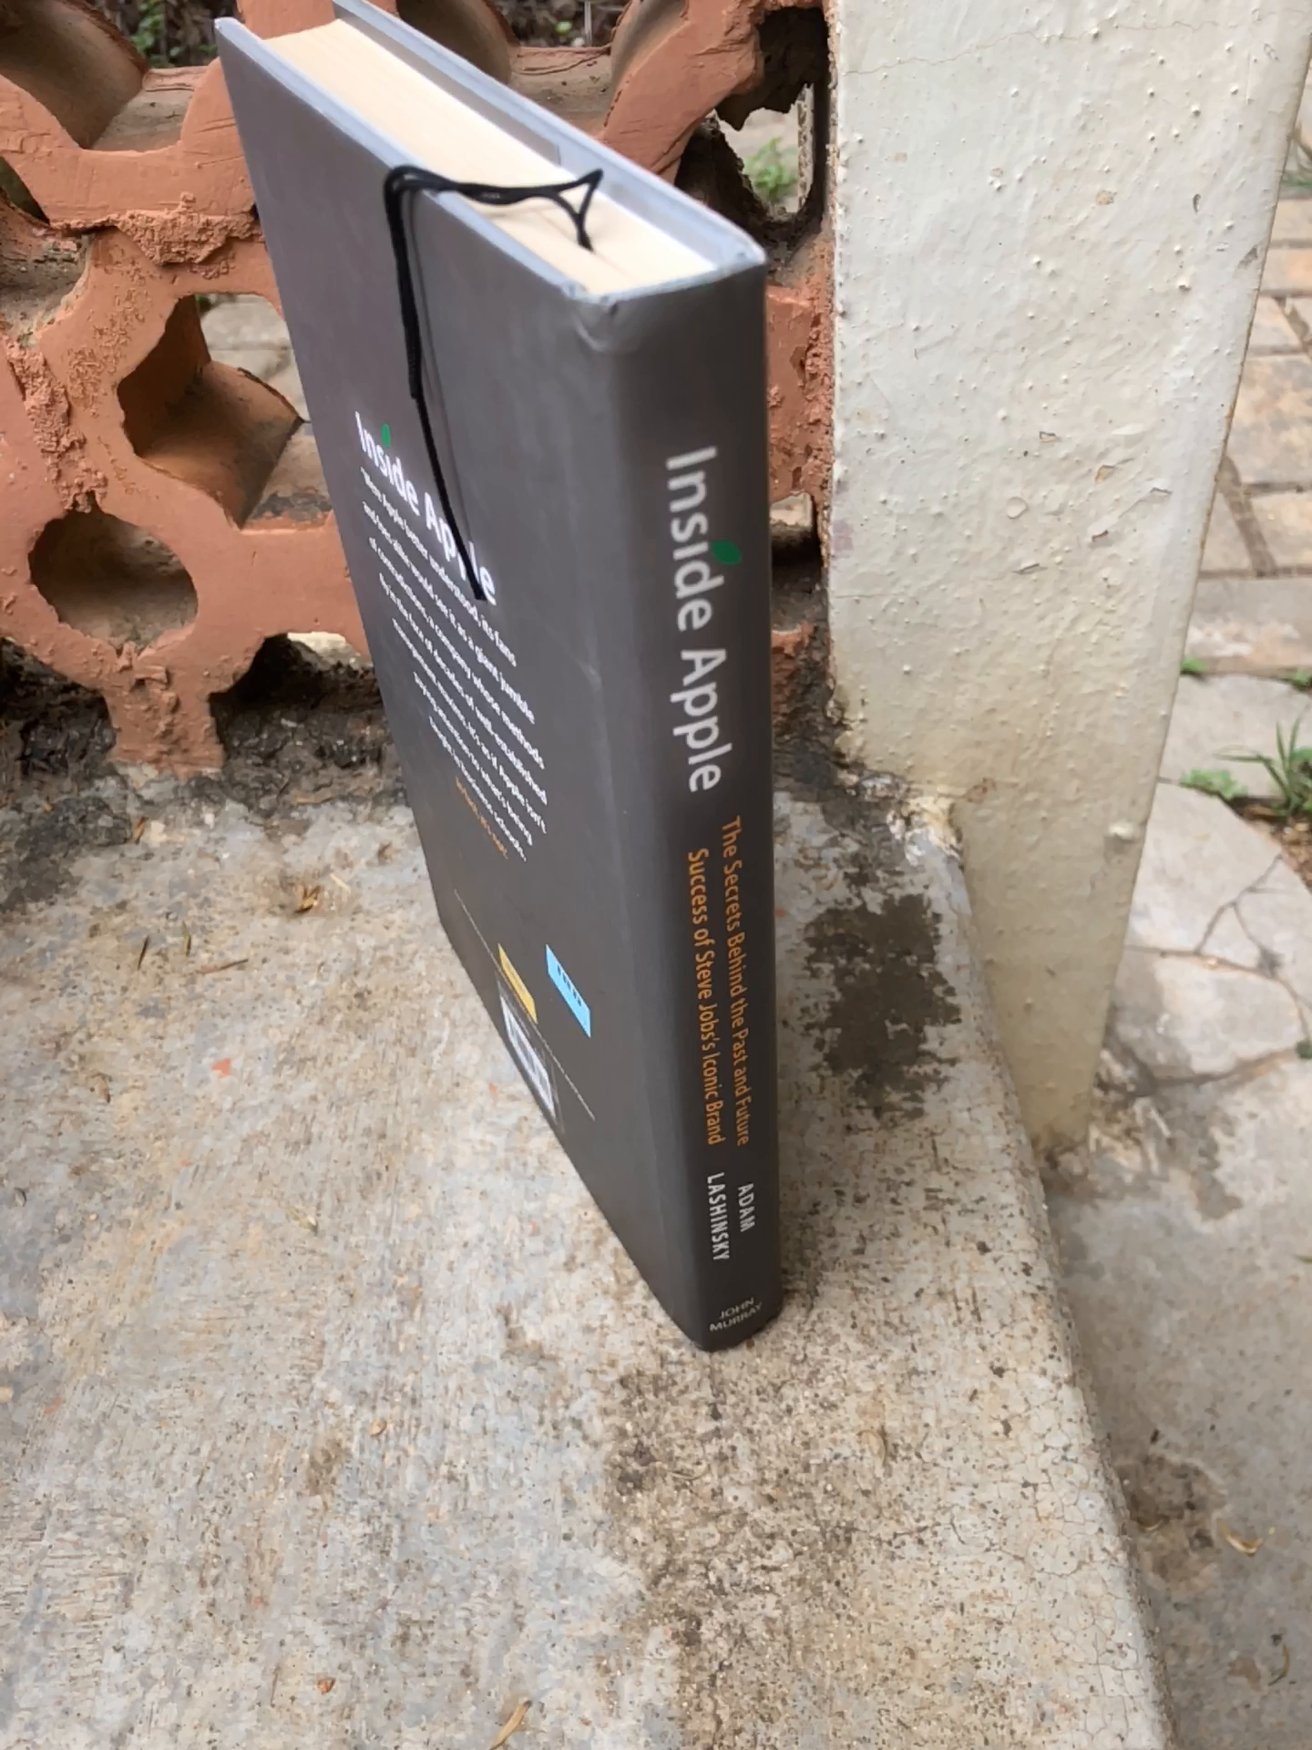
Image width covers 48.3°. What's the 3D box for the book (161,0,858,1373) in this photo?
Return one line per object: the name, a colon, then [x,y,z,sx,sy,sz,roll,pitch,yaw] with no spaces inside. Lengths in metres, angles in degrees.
book: [-0.024,-0.032,0.293,0.040,0.219,0.171,-23,46,-16]
